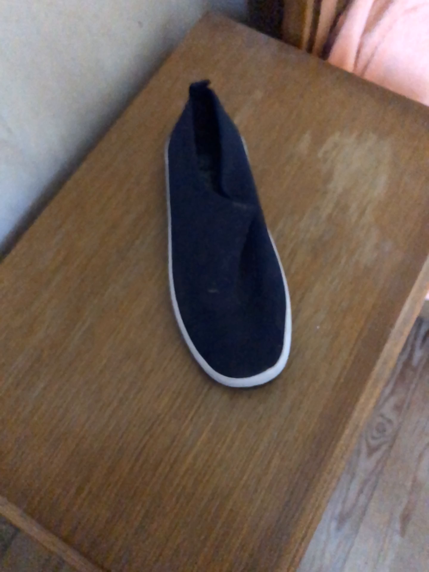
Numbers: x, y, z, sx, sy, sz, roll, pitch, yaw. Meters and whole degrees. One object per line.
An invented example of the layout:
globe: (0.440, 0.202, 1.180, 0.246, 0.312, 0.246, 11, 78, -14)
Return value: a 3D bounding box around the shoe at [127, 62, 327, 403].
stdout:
shoe: (0.001, -0.049, 0.396, 0.100, 0.080, 0.260, -11, 68, -3)
